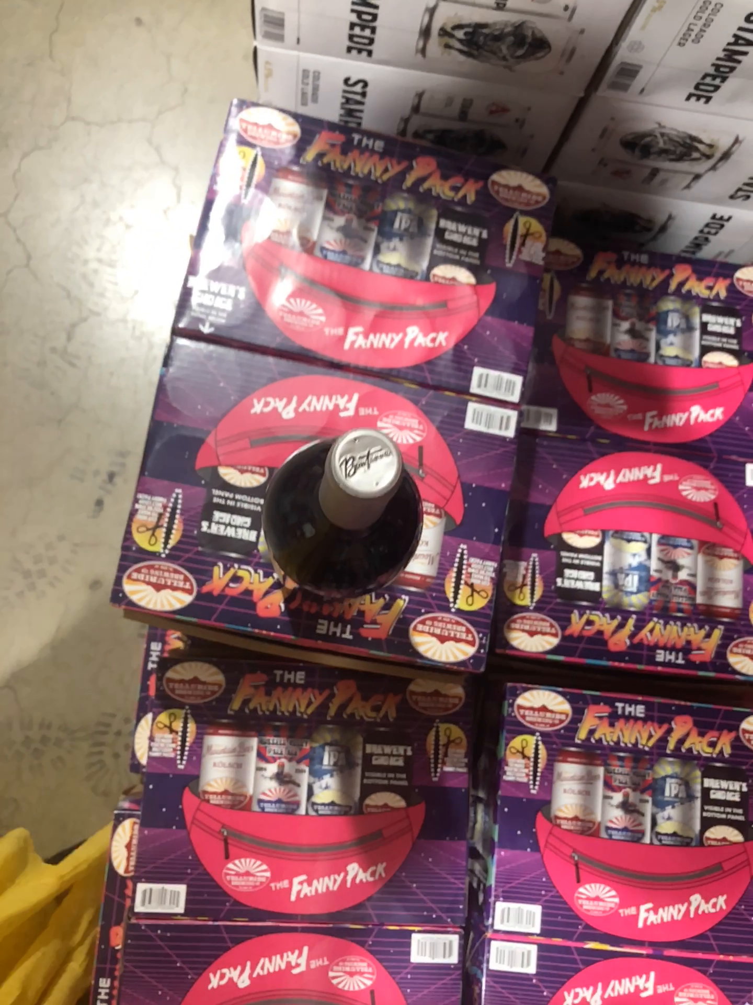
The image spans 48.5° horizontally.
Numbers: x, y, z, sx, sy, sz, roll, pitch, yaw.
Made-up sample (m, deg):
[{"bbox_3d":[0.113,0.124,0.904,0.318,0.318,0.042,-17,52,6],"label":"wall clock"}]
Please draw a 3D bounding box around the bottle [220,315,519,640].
[{"bbox_3d":[-0.016,0.013,0.442,0.080,0.300,0.080,1,79,-6],"label":"bottle"}]
